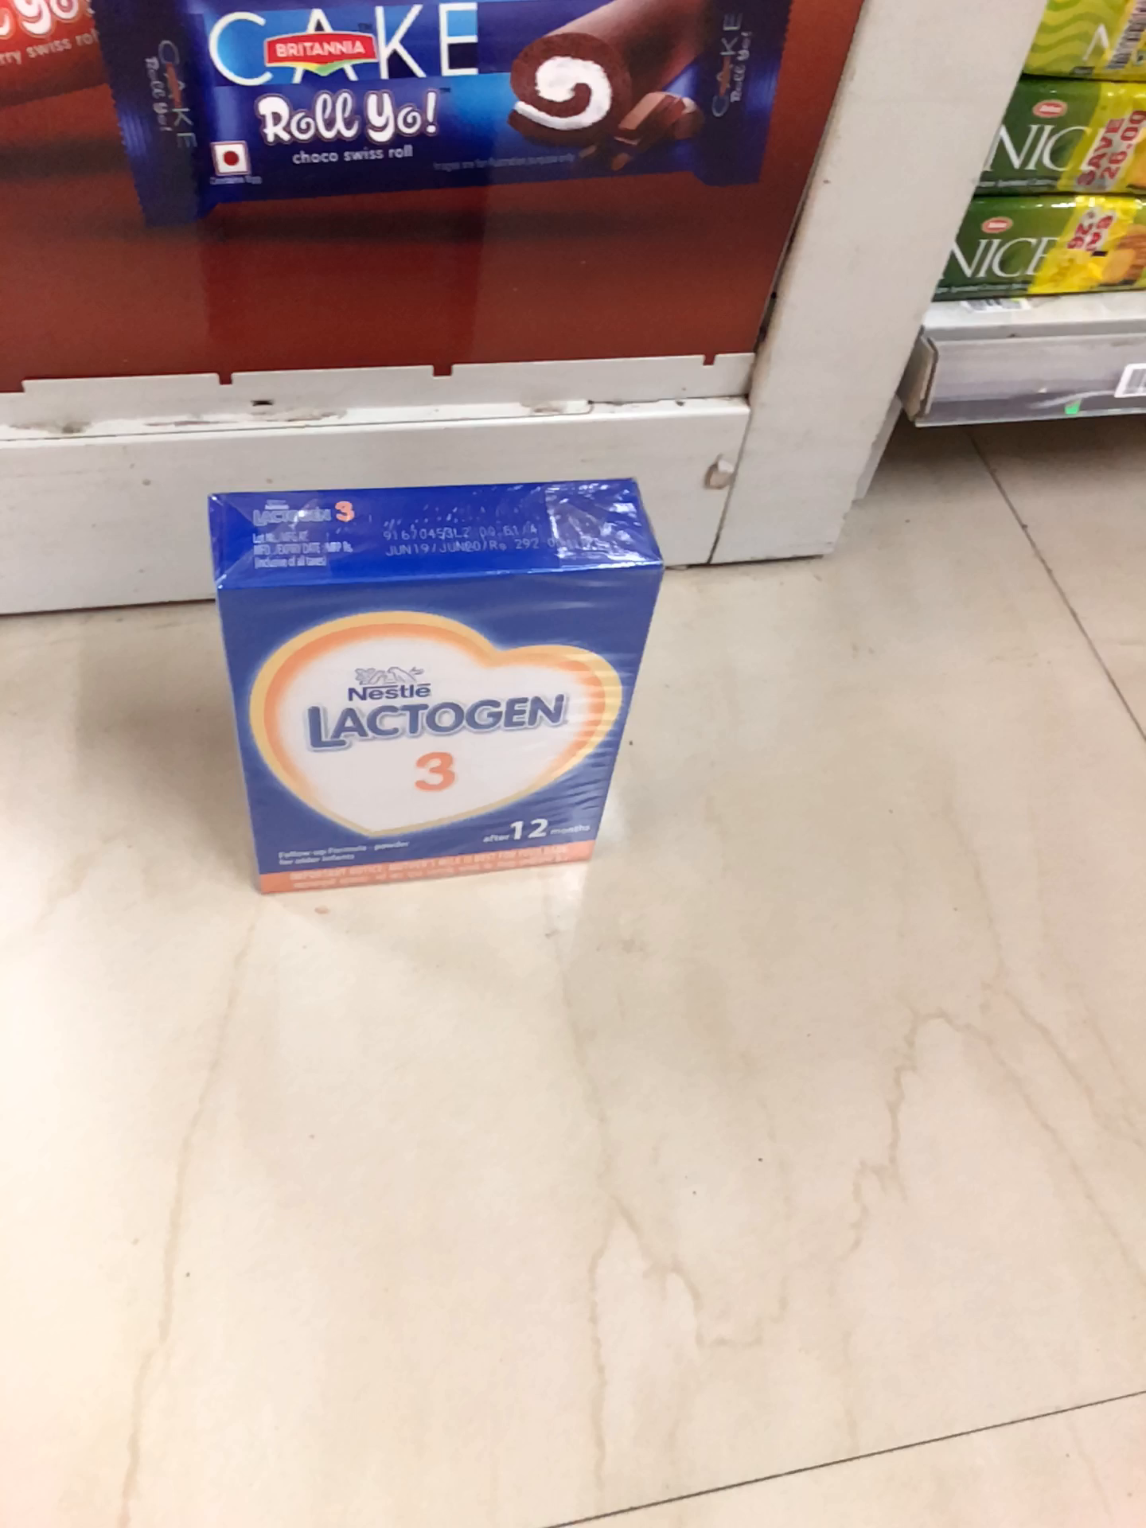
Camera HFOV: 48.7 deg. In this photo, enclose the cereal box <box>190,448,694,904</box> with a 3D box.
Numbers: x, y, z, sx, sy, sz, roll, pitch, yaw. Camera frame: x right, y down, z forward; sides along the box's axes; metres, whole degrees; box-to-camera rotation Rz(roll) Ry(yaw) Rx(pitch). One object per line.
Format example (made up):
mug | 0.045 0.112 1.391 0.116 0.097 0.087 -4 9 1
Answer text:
cereal box | -0.055 -0.027 0.495 0.160 0.189 0.060 -5 55 -12
